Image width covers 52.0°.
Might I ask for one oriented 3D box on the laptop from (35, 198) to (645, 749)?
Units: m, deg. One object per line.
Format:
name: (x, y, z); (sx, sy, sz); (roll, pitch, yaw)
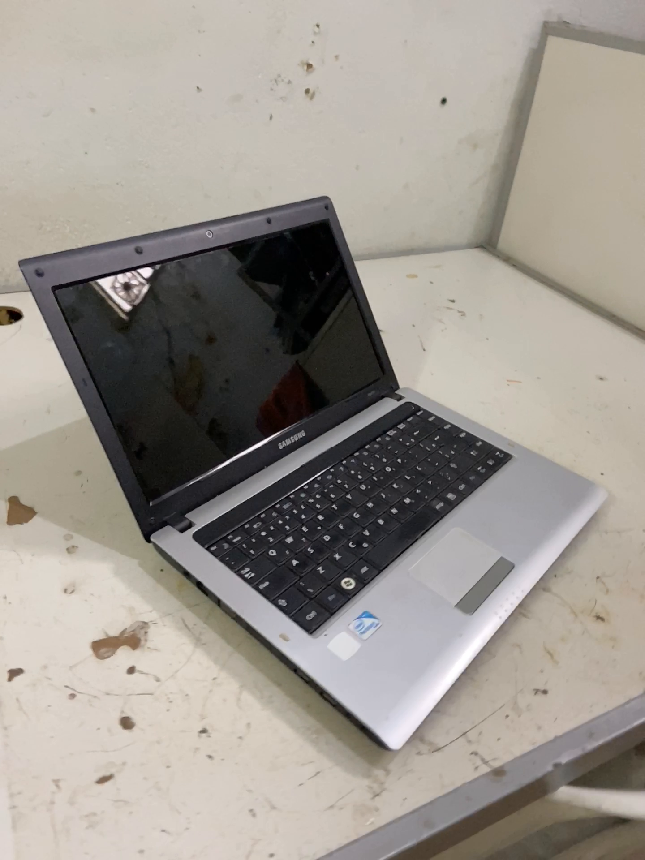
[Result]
laptop: (0.031, -0.030, 0.534); (0.362, 0.172, 0.336); (30, 40, 31)
